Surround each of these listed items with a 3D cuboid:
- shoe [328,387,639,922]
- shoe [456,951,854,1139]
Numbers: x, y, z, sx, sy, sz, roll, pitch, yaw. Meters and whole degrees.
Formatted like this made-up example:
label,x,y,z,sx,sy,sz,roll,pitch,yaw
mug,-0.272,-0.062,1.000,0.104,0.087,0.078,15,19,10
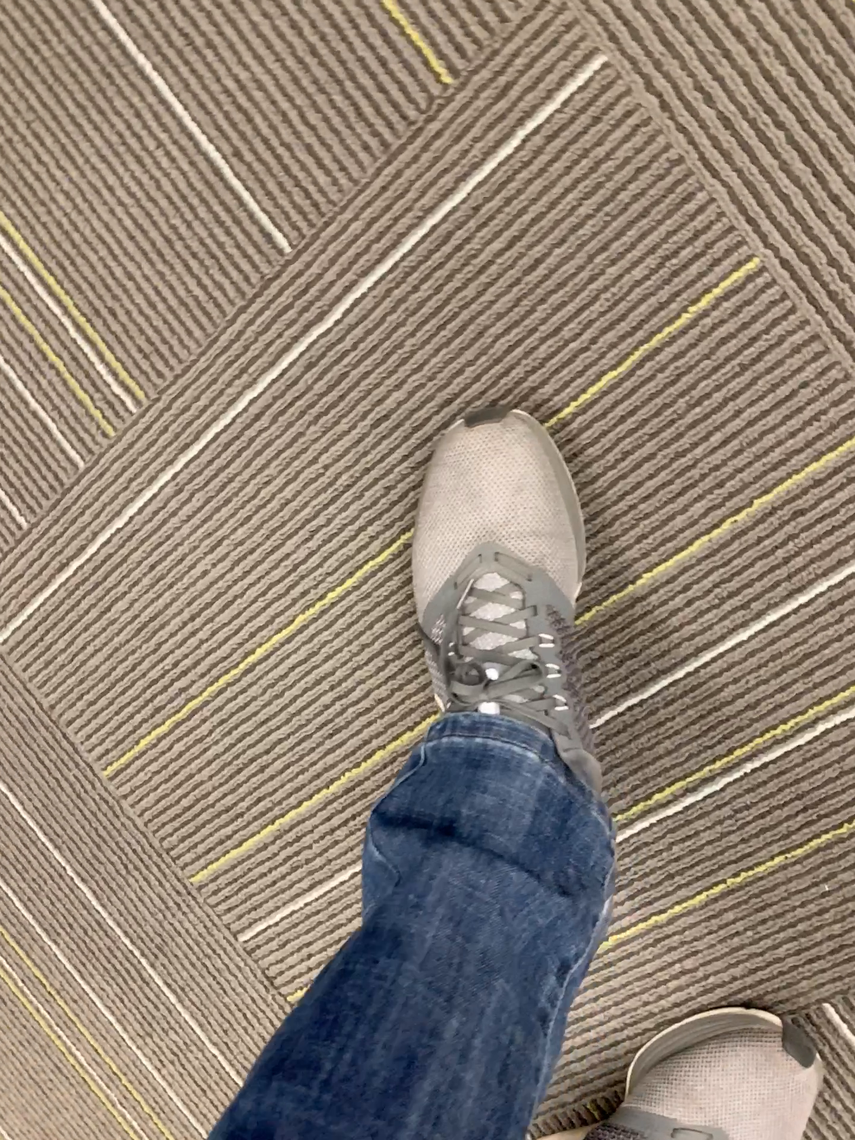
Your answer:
label,x,y,z,sx,sy,sz,roll,pitch,yaw
shoe,0.045,0.055,0.554,0.131,0.093,0.313,-6,103,19
shoe,0.169,0.432,0.632,0.128,0.093,0.300,40,113,4
